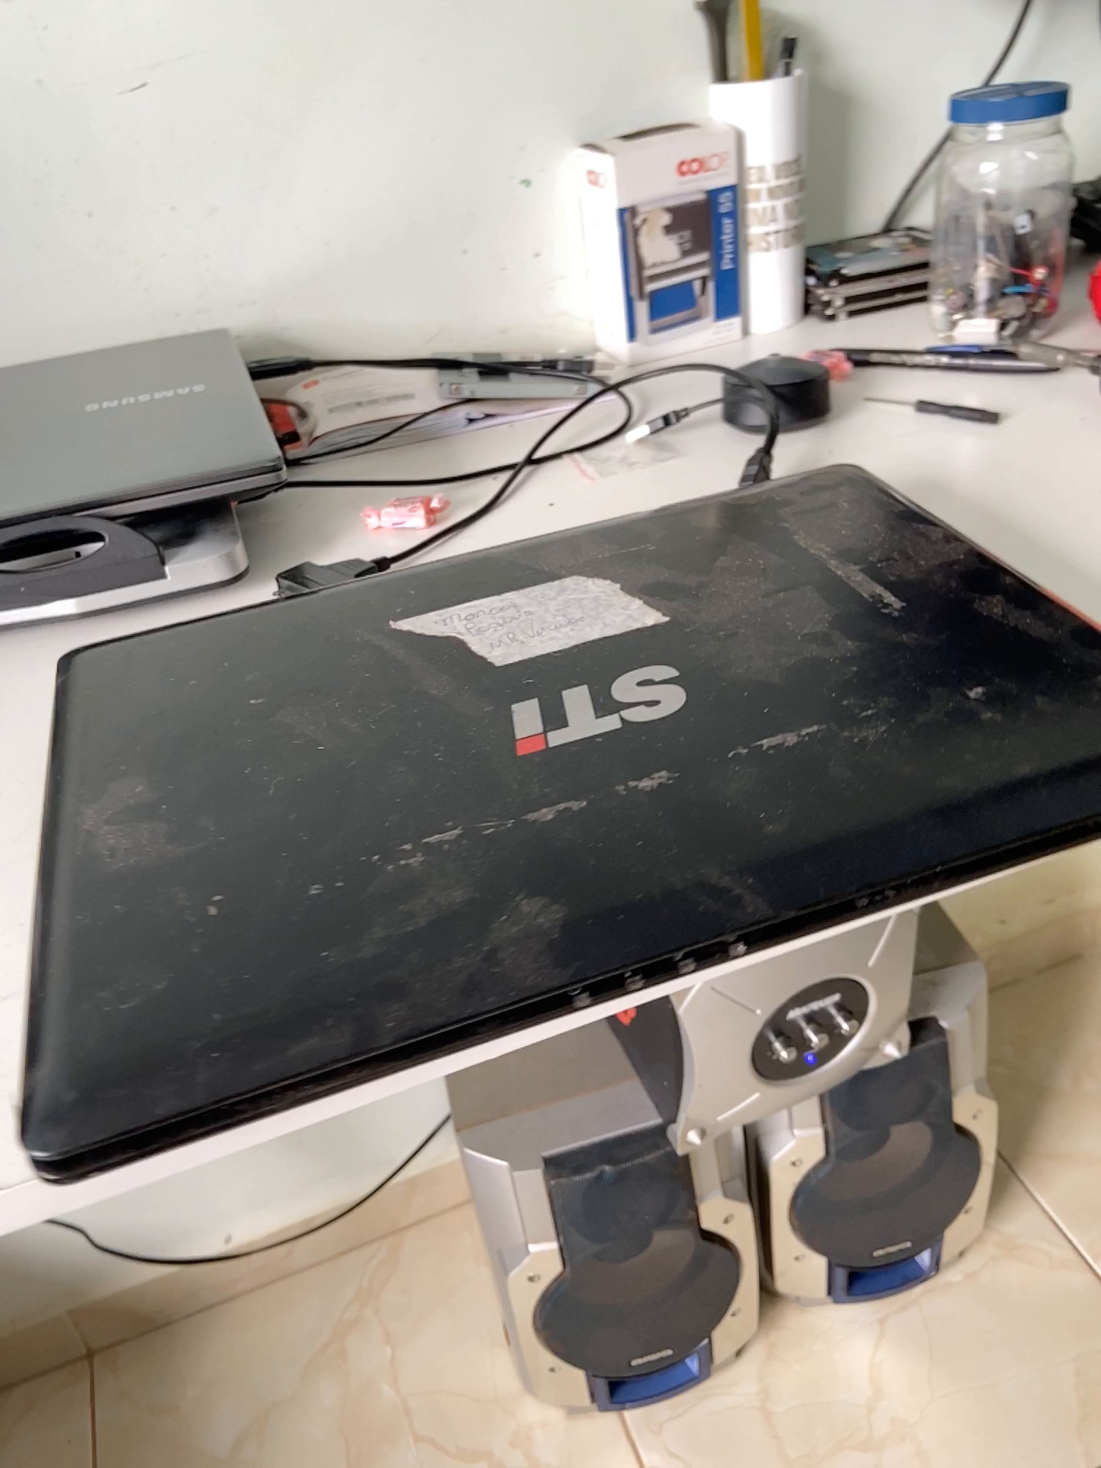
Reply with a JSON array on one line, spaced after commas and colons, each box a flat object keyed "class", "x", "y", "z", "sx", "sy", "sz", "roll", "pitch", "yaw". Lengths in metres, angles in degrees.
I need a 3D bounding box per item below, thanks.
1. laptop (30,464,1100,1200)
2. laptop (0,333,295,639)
[{"class": "laptop", "x": 0.009, "y": -0.006, "z": 0.378, "sx": 0.337, "sy": 0.011, "sz": 0.231, "roll": -15, "pitch": 37, "yaw": -11}, {"class": "laptop", "x": -0.319, "y": -0.141, "z": 0.562, "sx": 0.344, "sy": 0.006, "sz": 0.228, "roll": -16, "pitch": 36, "yaw": -16}]
